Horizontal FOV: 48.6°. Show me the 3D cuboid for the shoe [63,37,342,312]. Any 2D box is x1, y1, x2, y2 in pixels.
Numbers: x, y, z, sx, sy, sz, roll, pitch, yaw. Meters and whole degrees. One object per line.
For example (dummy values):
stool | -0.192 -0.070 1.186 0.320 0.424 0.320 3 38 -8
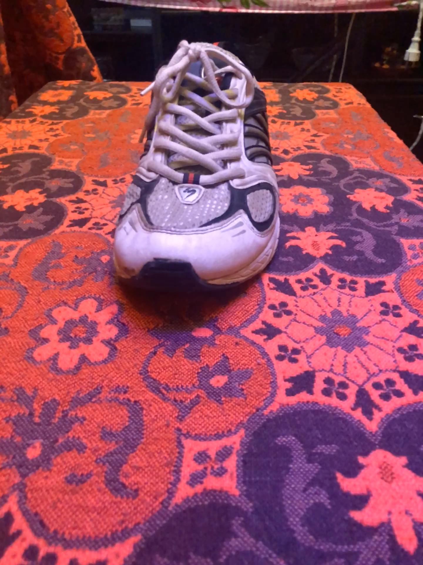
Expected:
shoe | 0.000 -0.111 0.354 0.120 0.090 0.312 0 35 2
